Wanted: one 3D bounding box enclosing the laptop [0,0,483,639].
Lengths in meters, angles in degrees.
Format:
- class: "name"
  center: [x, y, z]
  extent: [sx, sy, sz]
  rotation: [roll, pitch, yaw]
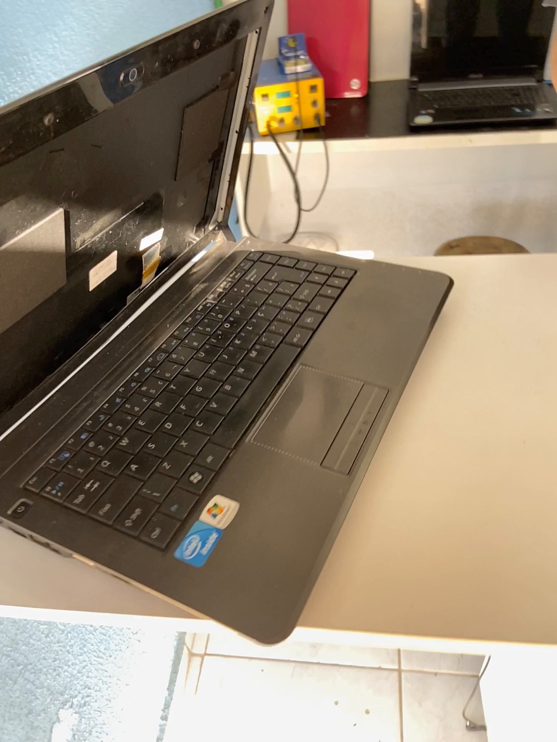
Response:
- class: "laptop"
  center: [-0.028, -0.076, 0.357]
  extent: [0.206, 0.206, 0.332]
  rotation: [15, 46, 23]
